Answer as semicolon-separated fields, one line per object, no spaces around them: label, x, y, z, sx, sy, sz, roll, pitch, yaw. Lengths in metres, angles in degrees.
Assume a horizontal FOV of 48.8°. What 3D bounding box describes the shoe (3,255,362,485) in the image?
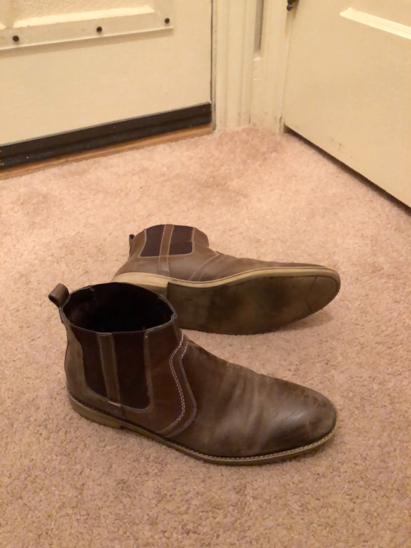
shoe;-0.017;0.101;0.482;0.308;0.175;0.116;6;41;7

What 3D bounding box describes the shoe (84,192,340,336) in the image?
shoe;0.008;-0.019;0.663;0.313;0.114;0.187;0;43;0
